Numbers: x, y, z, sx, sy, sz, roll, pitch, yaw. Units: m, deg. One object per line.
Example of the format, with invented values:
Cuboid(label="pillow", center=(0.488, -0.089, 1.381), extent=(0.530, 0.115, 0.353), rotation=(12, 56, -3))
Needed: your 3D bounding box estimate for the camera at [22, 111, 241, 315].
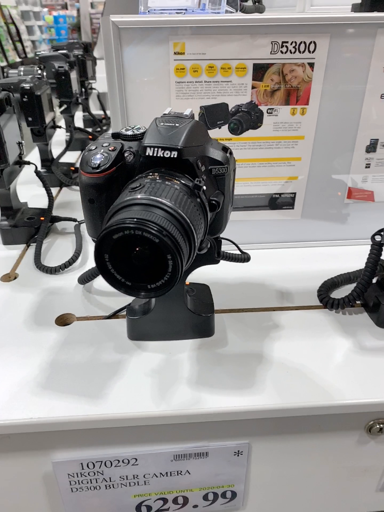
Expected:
Cuboid(label="camera", center=(-0.027, -0.046, 0.308), extent=(0.120, 0.099, 0.151), rotation=(3, 31, 7))
